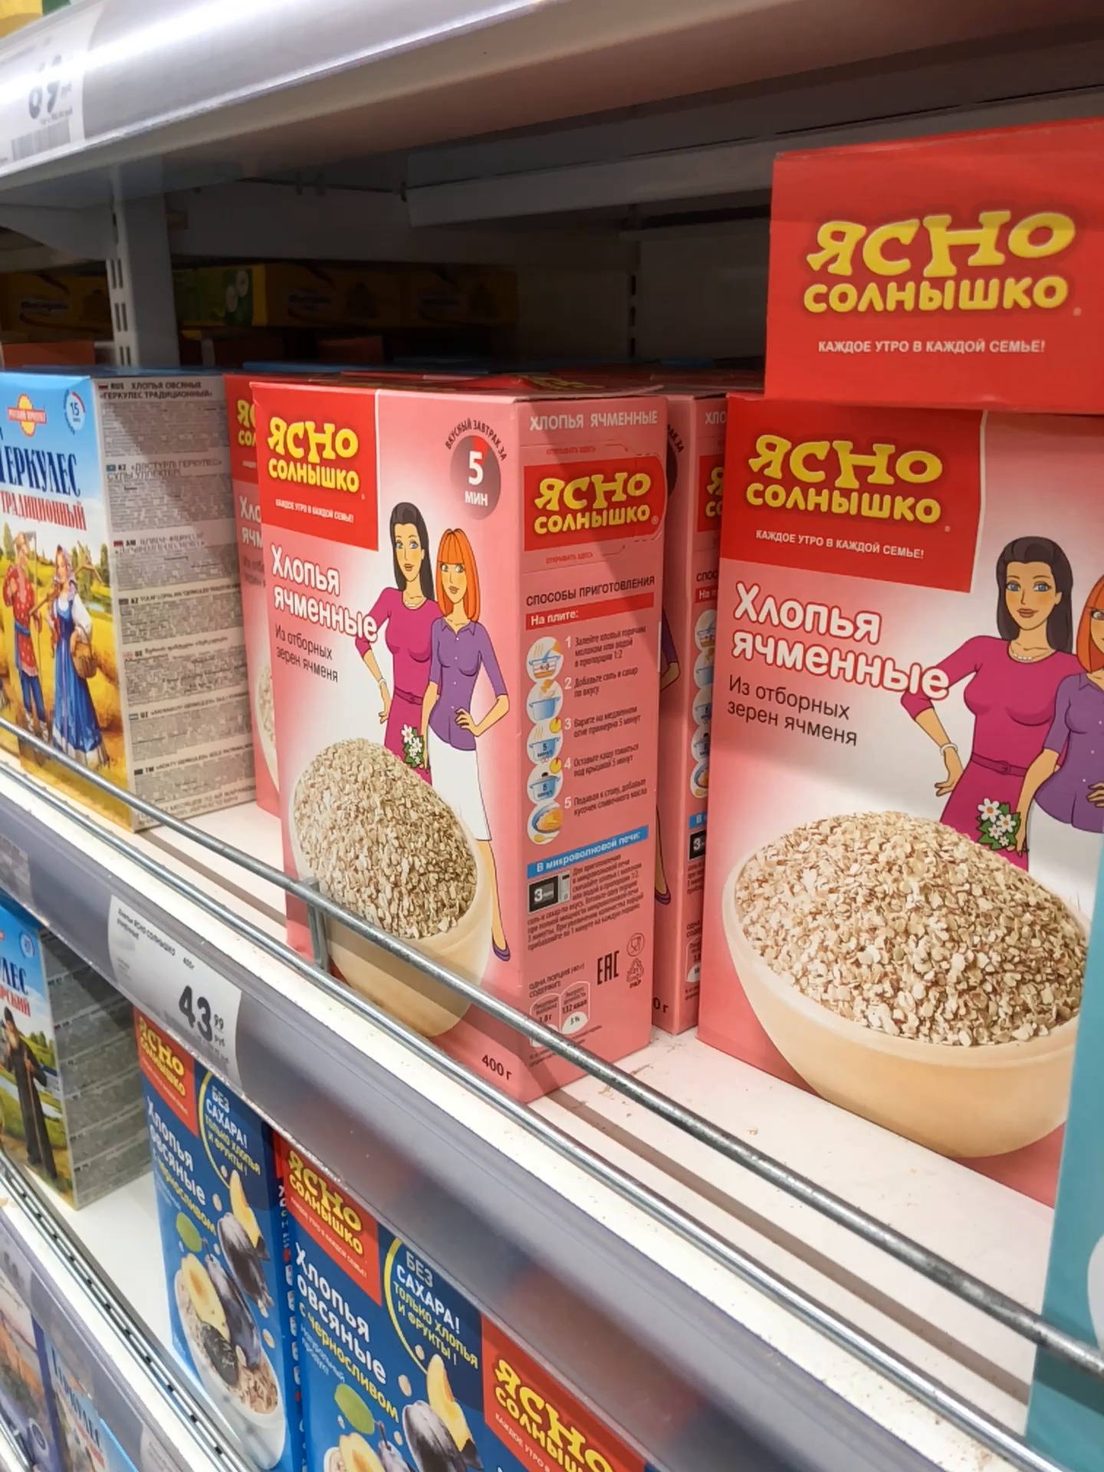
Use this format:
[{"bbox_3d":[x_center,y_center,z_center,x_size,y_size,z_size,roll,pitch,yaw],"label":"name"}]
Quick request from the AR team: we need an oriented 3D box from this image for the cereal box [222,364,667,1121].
[{"bbox_3d":[-0.036,-0.010,0.361,0.050,0.189,0.140,-13,21,-38],"label":"cereal box"}]
